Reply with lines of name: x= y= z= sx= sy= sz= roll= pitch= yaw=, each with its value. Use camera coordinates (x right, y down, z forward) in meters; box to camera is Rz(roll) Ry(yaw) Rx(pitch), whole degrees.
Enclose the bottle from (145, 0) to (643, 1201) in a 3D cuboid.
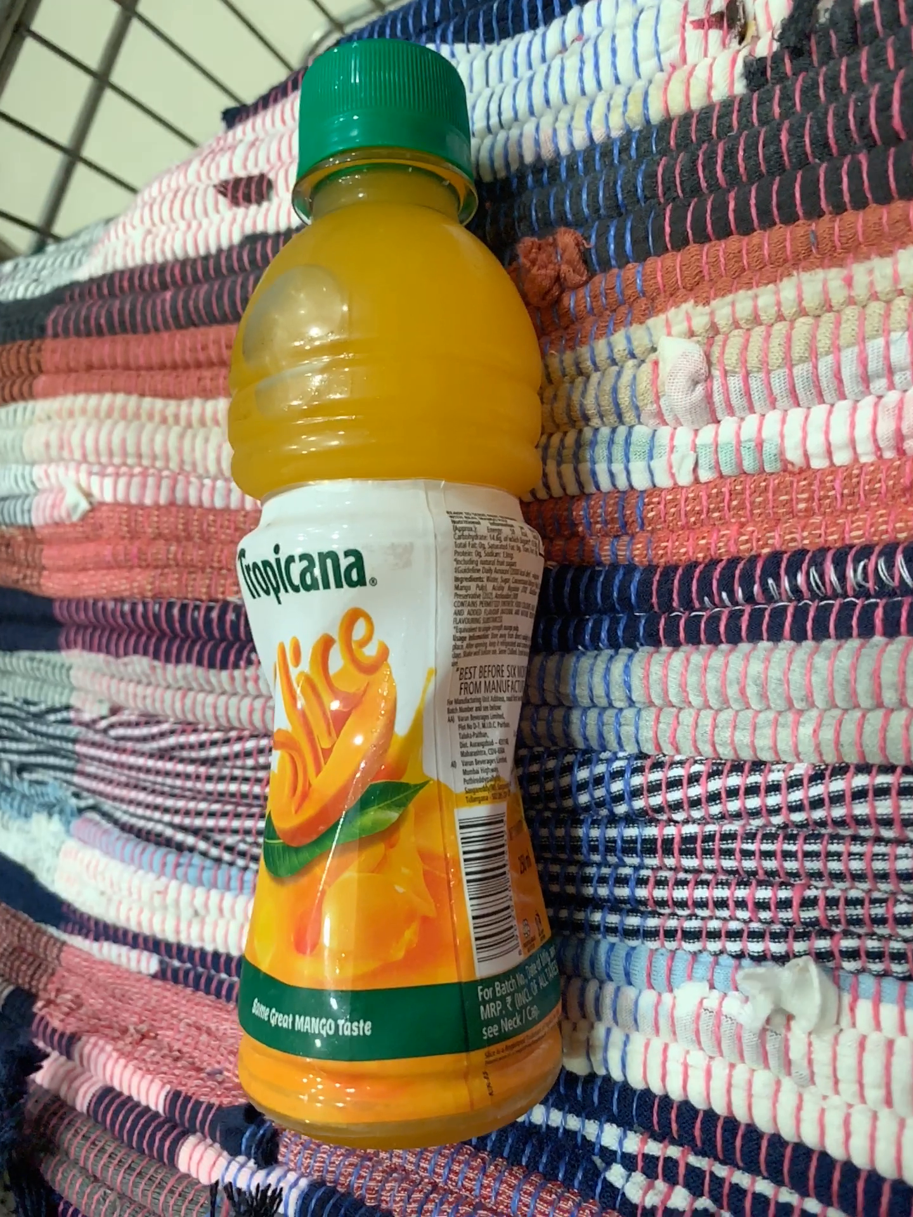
bottle: x=-0.008 y=-0.016 z=0.168 sx=0.060 sy=0.050 sz=0.190 roll=-2 pitch=83 yaw=35
